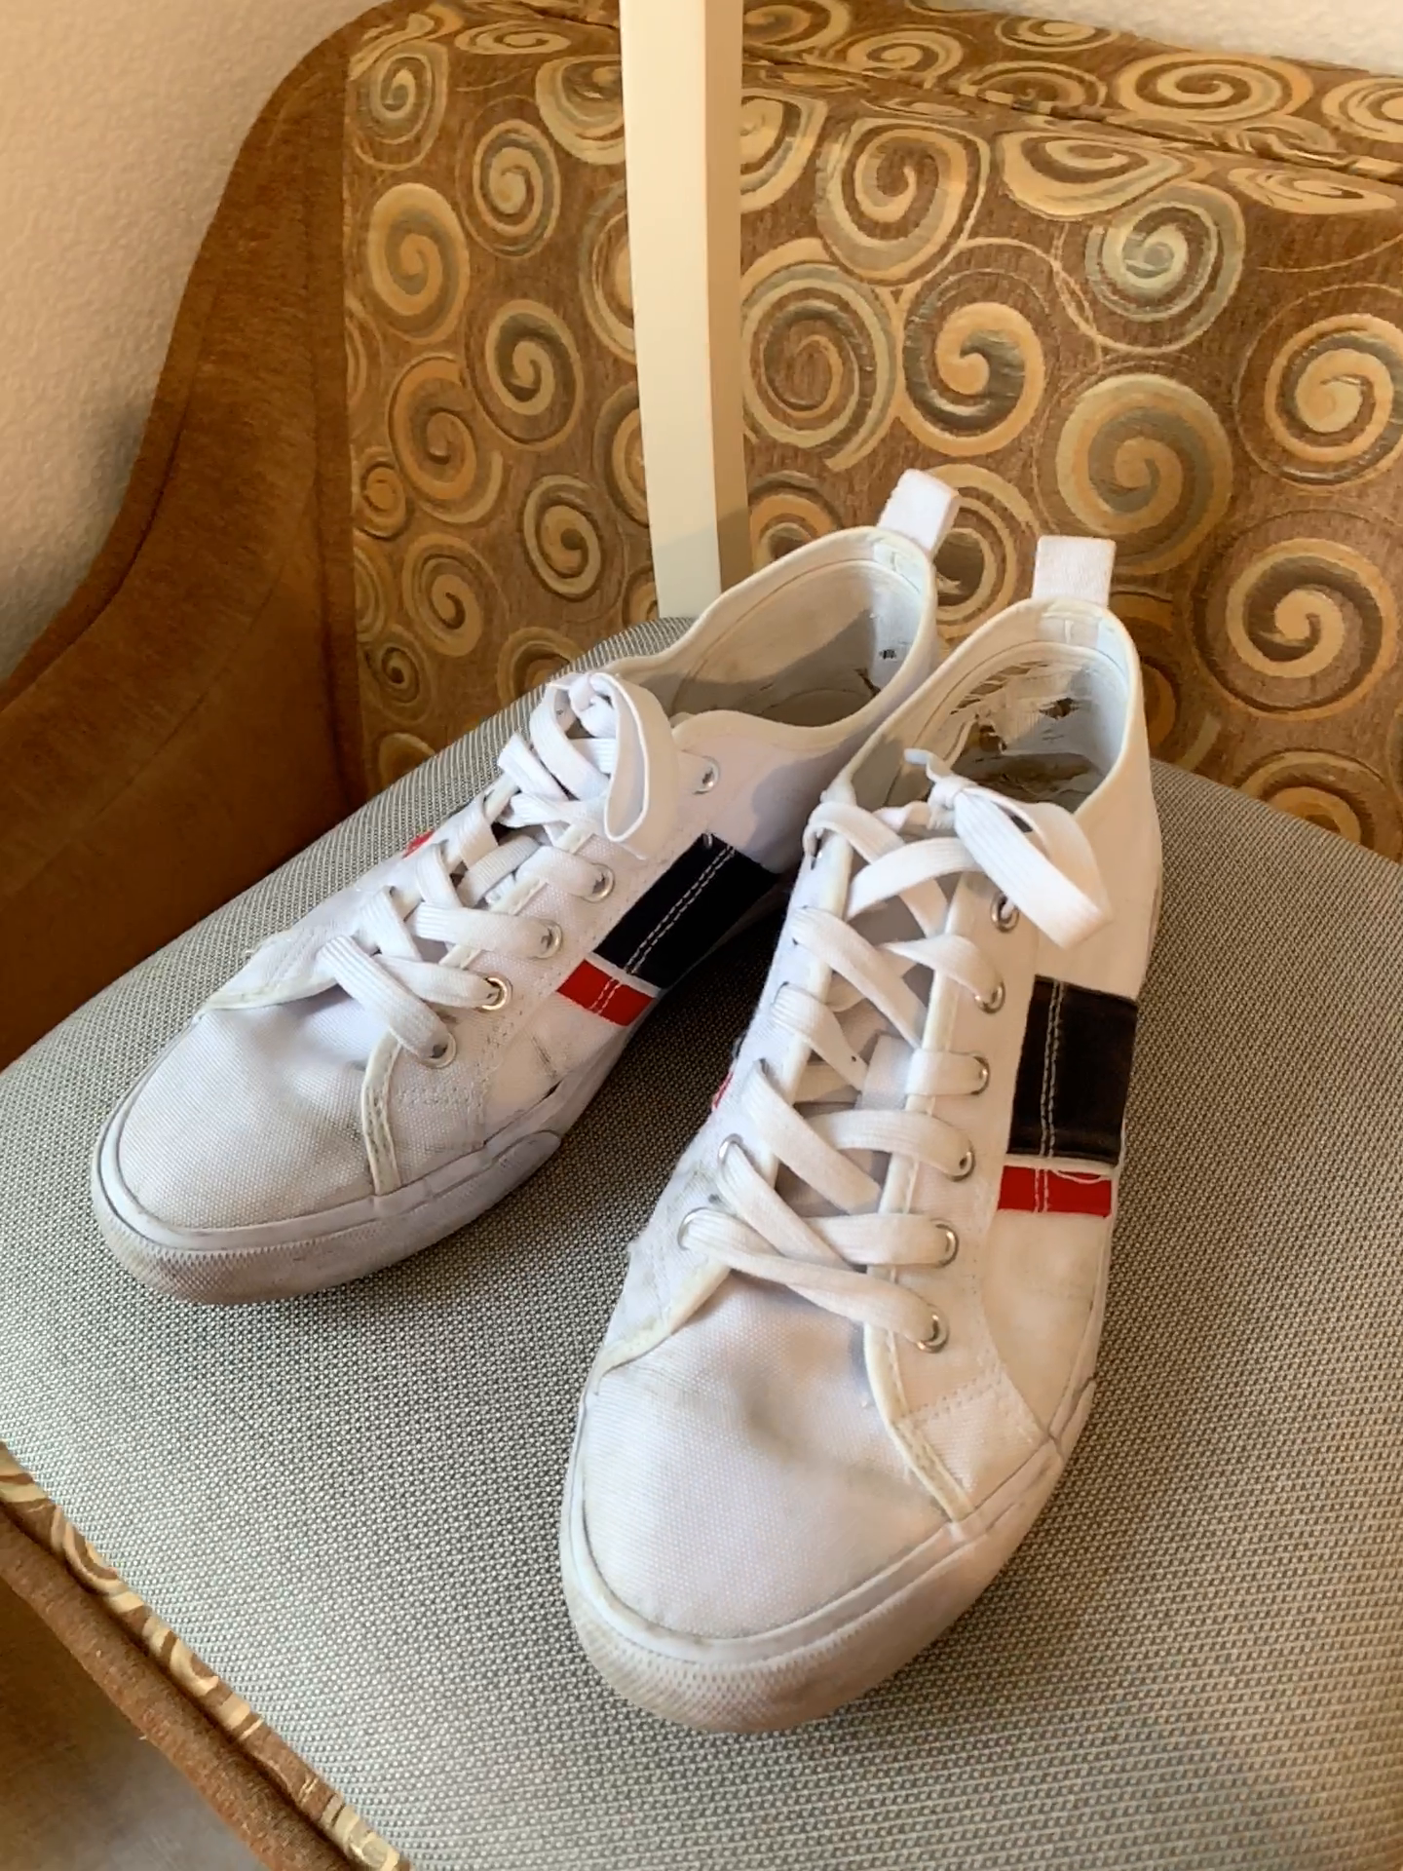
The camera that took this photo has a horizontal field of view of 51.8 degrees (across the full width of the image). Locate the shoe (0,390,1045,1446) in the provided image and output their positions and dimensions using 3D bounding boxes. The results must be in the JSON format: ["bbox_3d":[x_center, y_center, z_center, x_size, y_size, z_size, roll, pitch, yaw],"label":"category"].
[{"bbox_3d":[-0.050,-0.020,0.388,0.280,0.090,0.120,-39,57,-20],"label":"shoe"}]

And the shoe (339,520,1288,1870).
[{"bbox_3d":[0.046,0.035,0.325,0.110,0.090,0.271,13,56,18],"label":"shoe"}]
